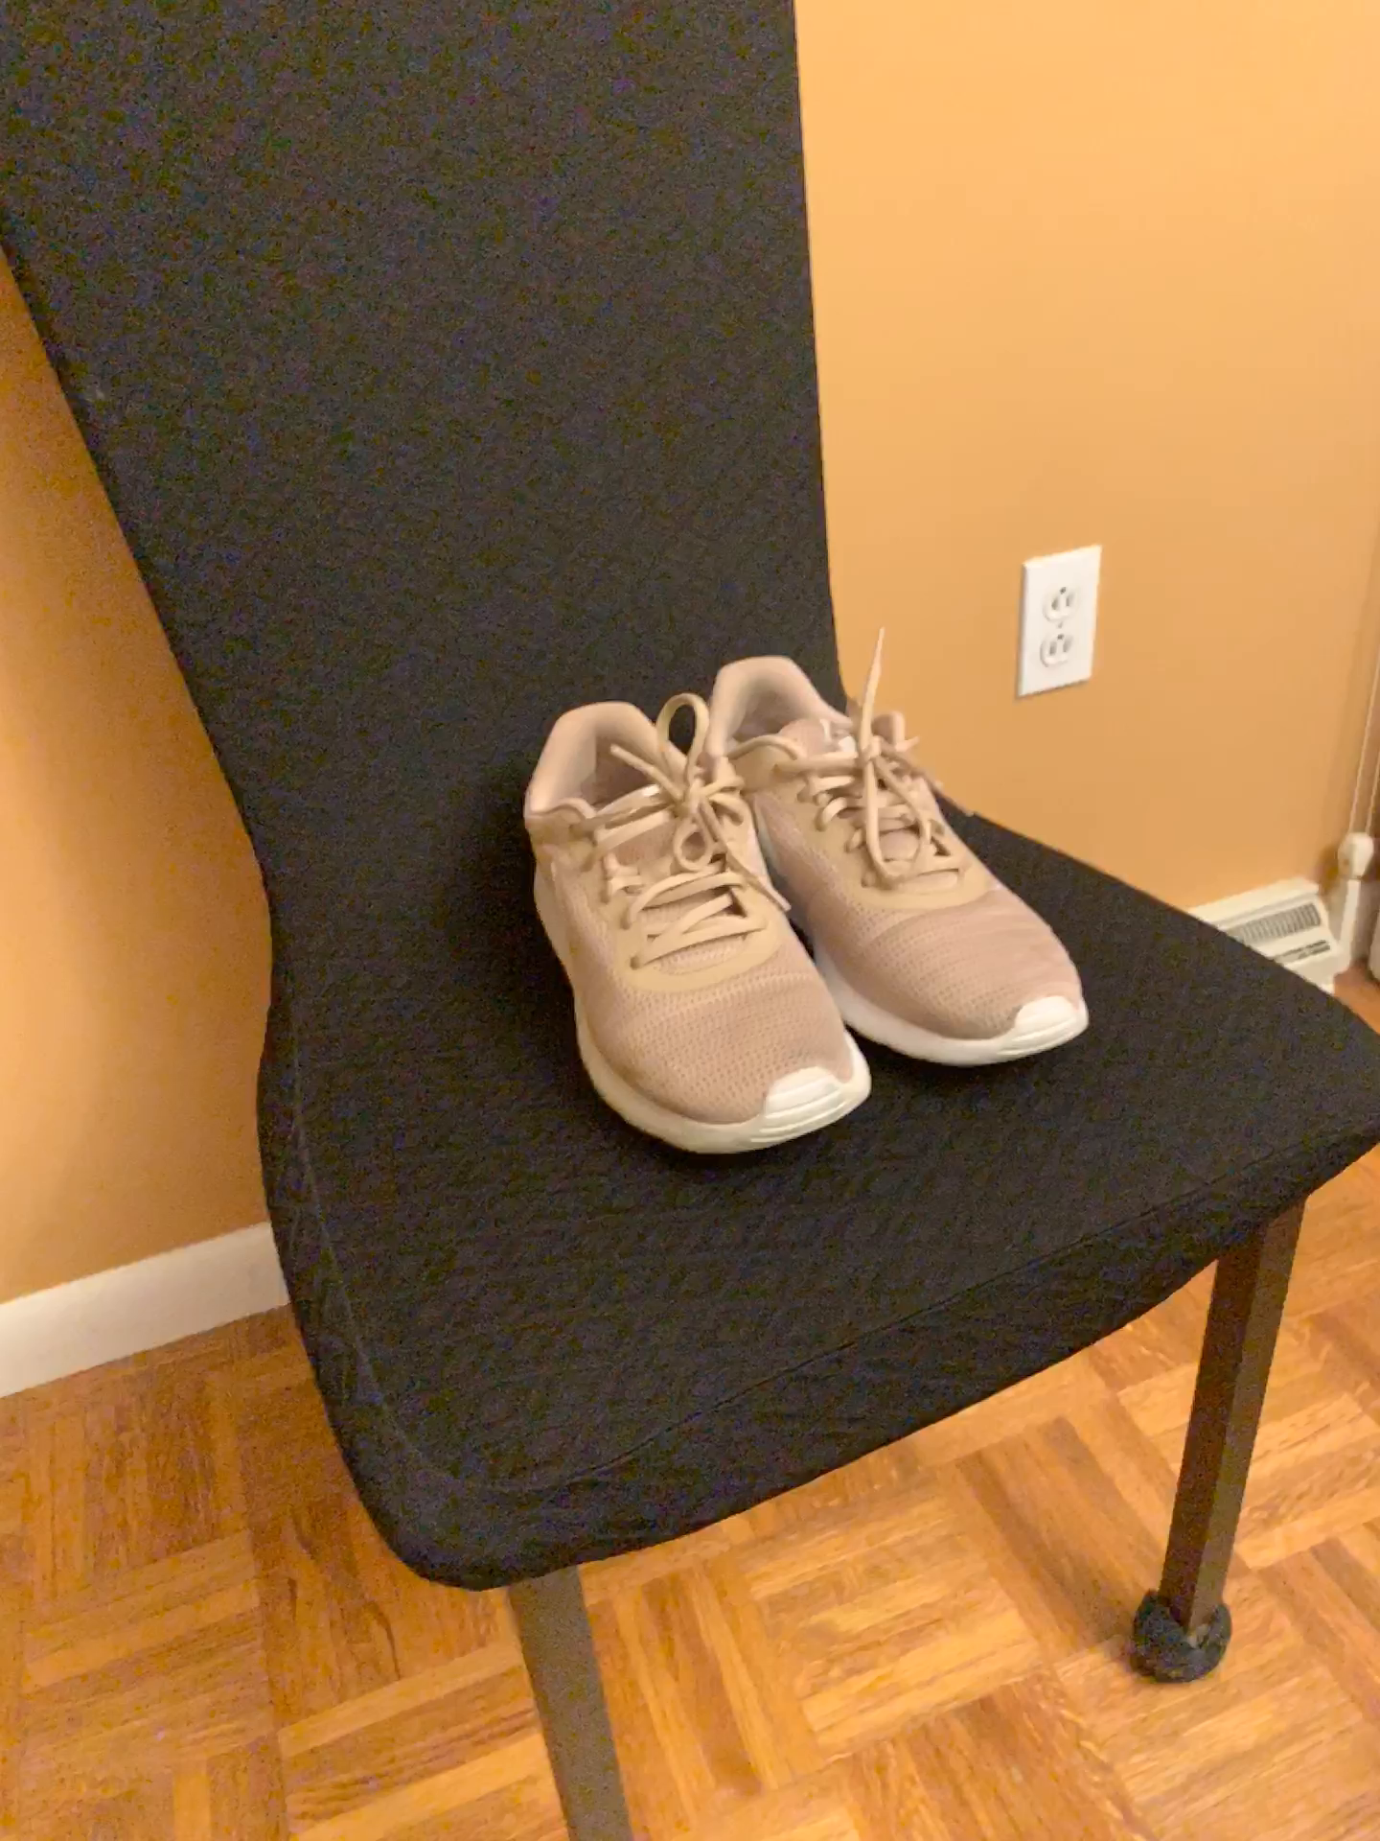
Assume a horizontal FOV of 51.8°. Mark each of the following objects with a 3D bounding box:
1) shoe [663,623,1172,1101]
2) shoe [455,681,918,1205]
[{"bbox_3d":[0.089,-0.043,0.659,0.110,0.089,0.261,-16,34,-16],"label":"shoe"},{"bbox_3d":[-0.013,-0.008,0.645,0.110,0.089,0.271,-16,34,-16],"label":"shoe"}]
